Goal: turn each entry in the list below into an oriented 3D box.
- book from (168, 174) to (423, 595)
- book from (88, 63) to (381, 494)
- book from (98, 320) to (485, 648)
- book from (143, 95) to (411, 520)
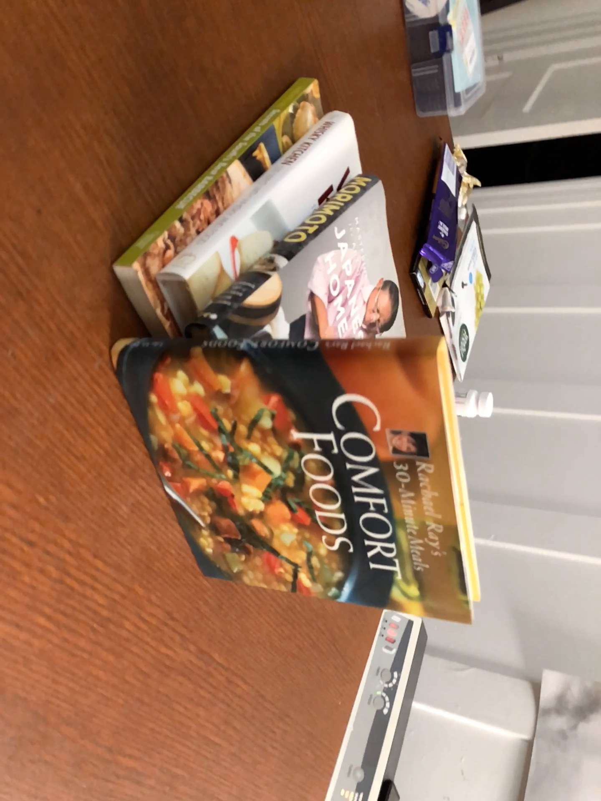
[{"bbox_3d":[0.024,-0.026,0.537,0.281,0.030,0.220,-52,136,-43],"label":"book"},{"bbox_3d":[-0.021,-0.104,0.533,0.281,0.030,0.220,-58,141,-37],"label":"book"},{"bbox_3d":[0.000,0.052,0.411,0.030,0.209,0.210,-54,139,-47],"label":"book"},{"bbox_3d":[0.011,-0.084,0.536,0.281,0.030,0.220,-57,139,-39],"label":"book"}]
